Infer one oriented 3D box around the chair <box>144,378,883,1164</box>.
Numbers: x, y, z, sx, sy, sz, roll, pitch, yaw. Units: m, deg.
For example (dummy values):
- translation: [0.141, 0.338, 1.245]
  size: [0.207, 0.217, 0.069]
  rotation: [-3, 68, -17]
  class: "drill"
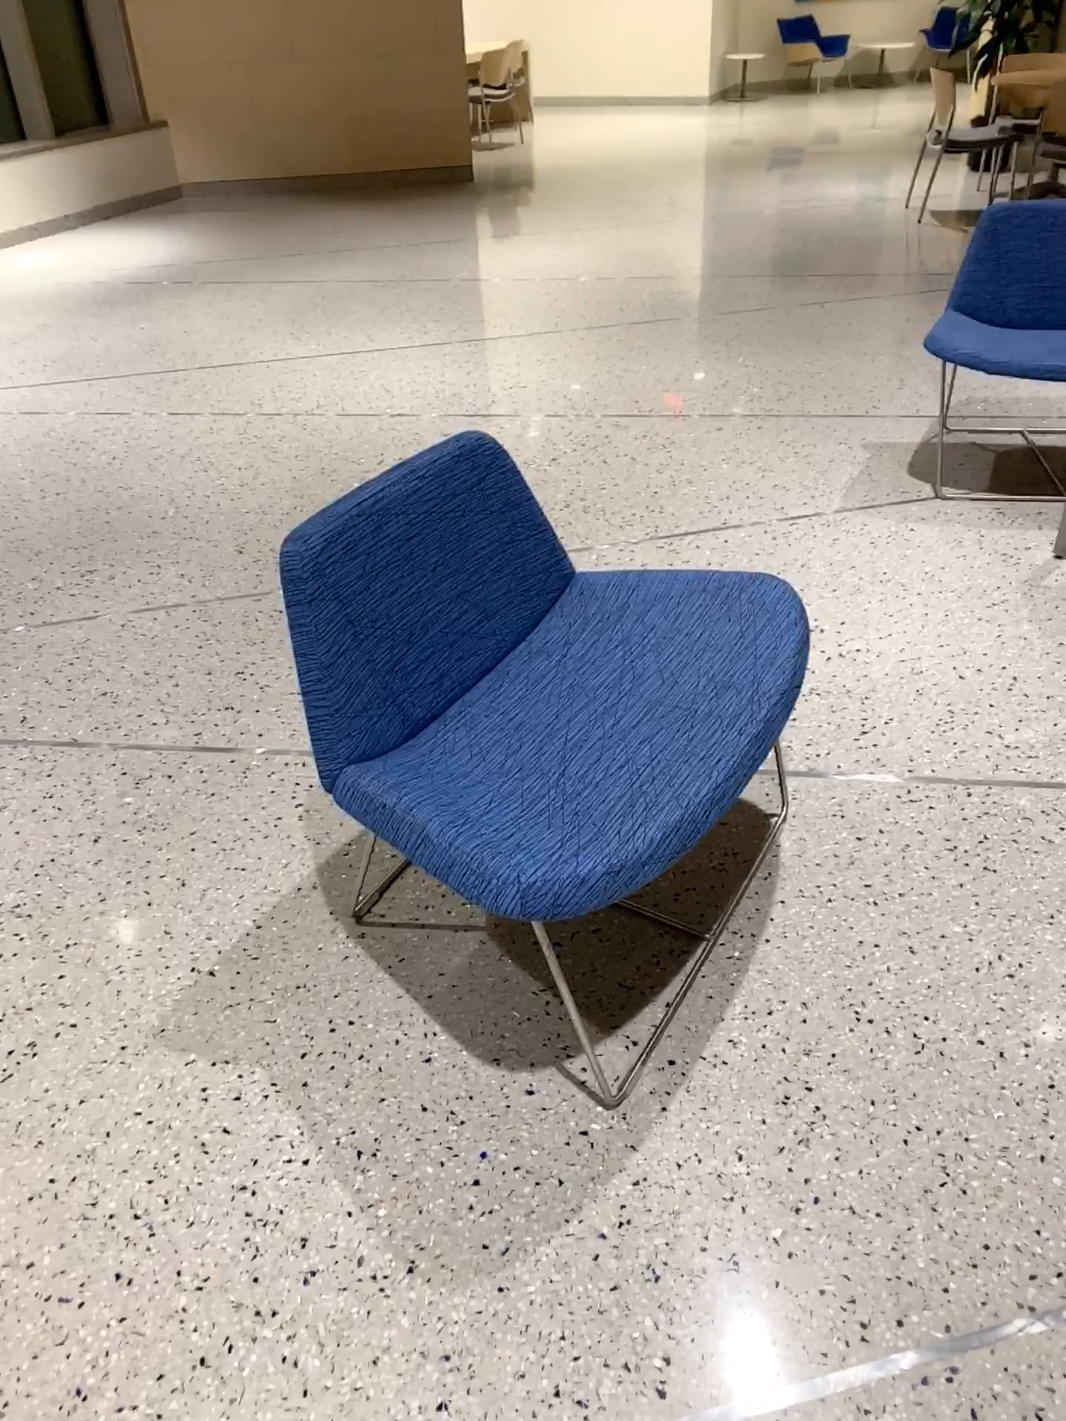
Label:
- translation: [0.052, -0.009, 1.732]
  size: [0.662, 0.698, 0.948]
  rotation: [16, 38, 26]
  class: "chair"
